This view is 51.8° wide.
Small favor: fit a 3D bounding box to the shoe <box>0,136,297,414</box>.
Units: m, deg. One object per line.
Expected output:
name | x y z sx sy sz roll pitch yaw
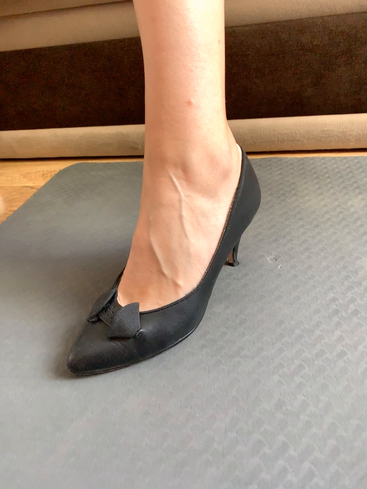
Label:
shoe | -0.014 0.003 0.312 0.230 0.099 0.090 -32 41 -31
